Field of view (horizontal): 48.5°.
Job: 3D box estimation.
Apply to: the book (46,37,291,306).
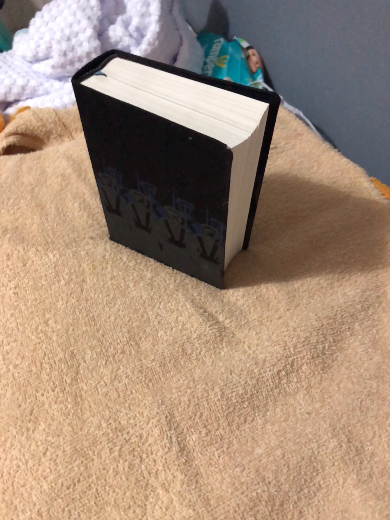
[{"bbox_3d":[-0.019,-0.062,0.355,0.150,0.179,0.060,23,57,16],"label":"book"}]
